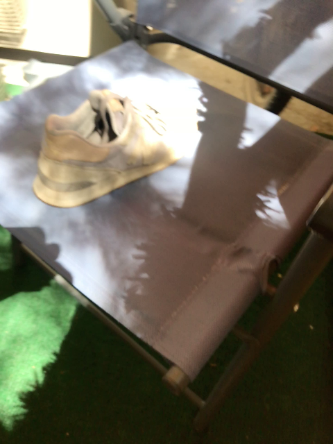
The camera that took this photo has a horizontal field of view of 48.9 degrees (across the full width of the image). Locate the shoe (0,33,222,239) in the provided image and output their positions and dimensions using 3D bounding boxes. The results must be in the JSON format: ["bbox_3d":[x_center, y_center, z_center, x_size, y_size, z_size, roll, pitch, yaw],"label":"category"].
[{"bbox_3d":[-0.068,-0.129,0.515,0.287,0.104,0.125,-40,62,-18],"label":"shoe"}]
